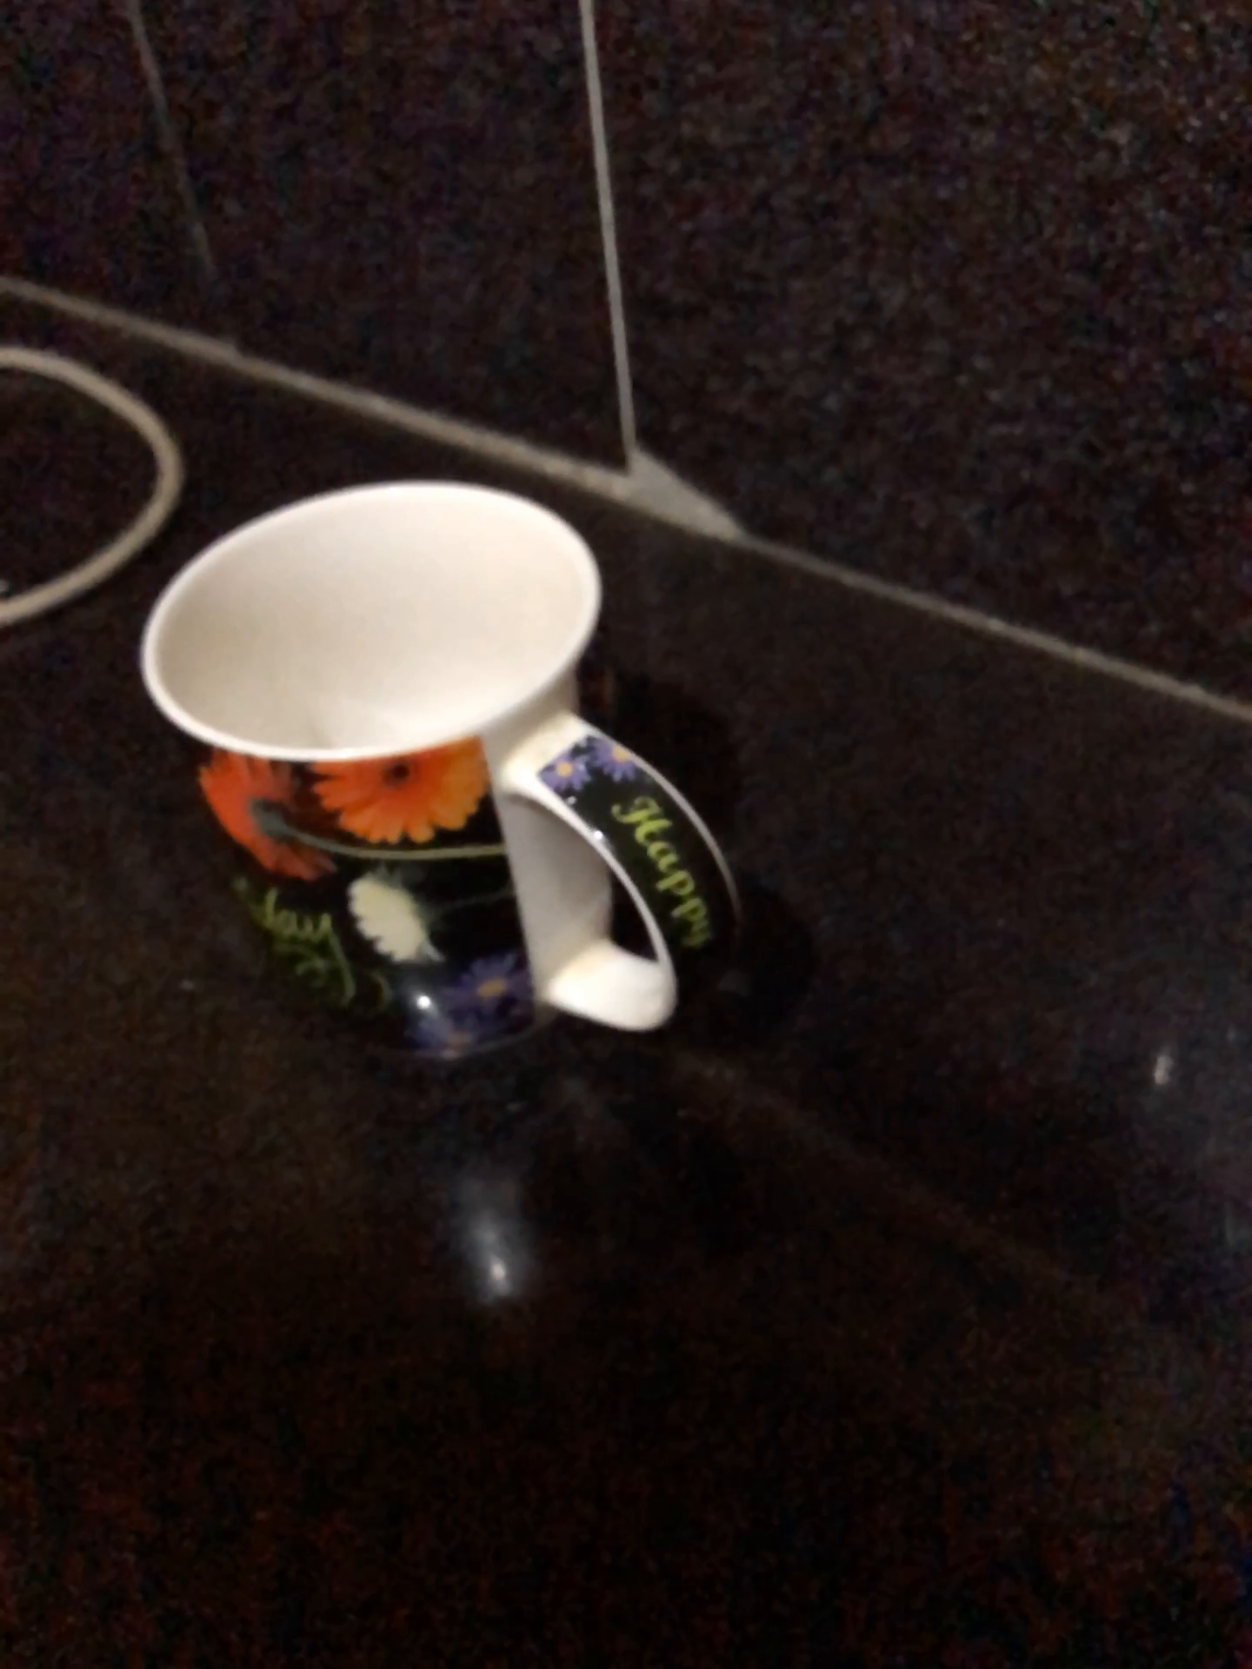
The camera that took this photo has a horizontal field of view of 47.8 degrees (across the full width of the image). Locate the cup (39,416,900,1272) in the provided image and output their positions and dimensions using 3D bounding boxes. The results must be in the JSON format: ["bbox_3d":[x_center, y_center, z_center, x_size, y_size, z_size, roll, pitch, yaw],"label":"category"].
[{"bbox_3d":[-0.028,-0.006,0.281,0.130,0.089,0.090,31,56,33],"label":"cup"}]
